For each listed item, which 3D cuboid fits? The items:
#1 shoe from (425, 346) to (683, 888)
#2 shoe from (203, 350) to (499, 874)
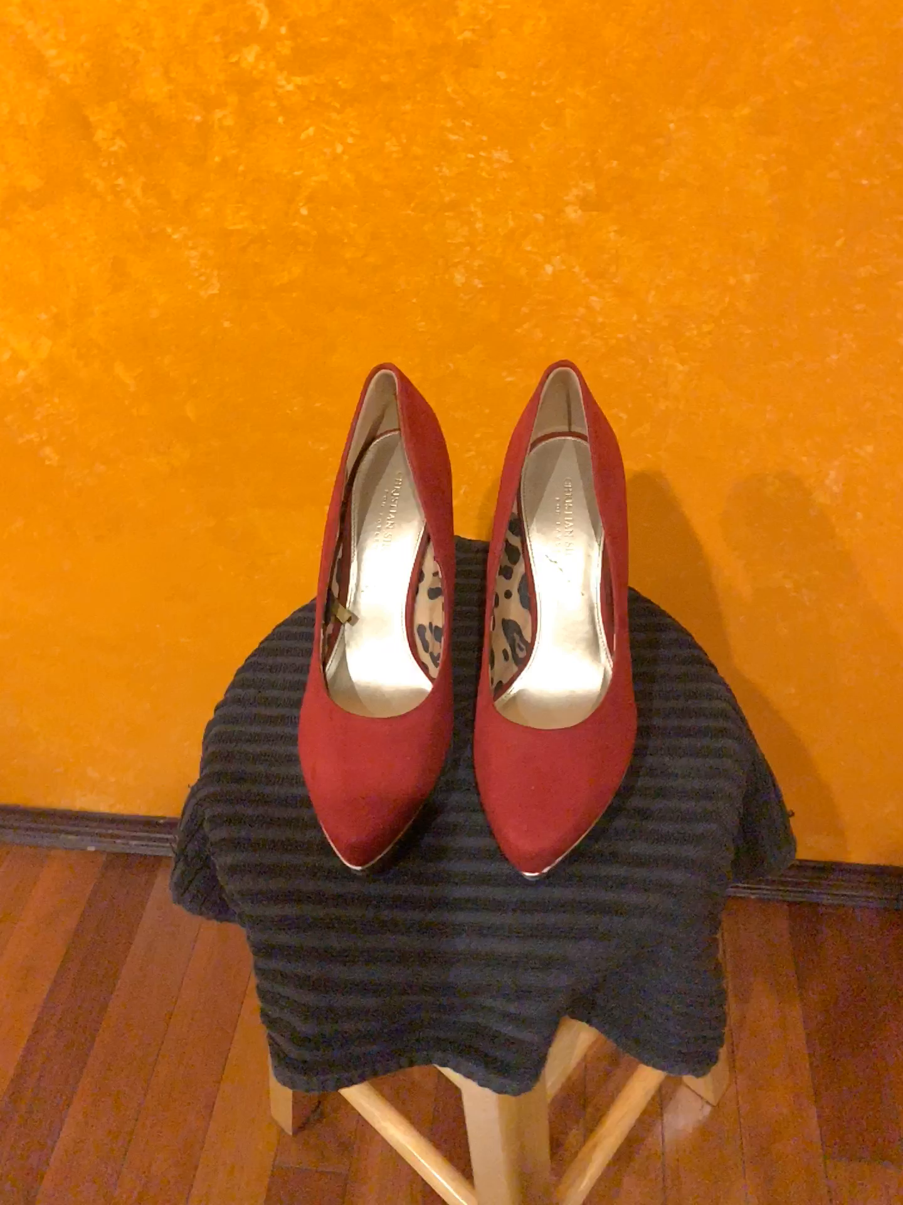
[{"bbox_3d":[0.050,-0.012,0.478,0.093,0.128,0.271,5,40,4],"label":"shoe"},{"bbox_3d":[-0.034,-0.017,0.503,0.100,0.119,0.291,4,39,3],"label":"shoe"}]
